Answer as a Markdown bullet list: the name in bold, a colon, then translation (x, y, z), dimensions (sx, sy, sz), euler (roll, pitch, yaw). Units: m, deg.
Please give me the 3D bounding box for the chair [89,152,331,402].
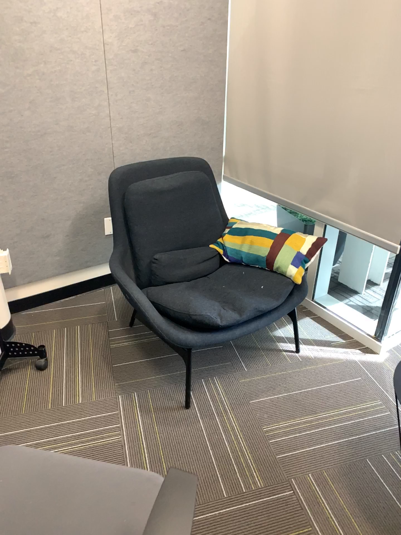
- **chair**: translation (-0.028, -0.061, 2.178), dimensions (0.790, 0.815, 1.006), euler (-13, 32, -25)
